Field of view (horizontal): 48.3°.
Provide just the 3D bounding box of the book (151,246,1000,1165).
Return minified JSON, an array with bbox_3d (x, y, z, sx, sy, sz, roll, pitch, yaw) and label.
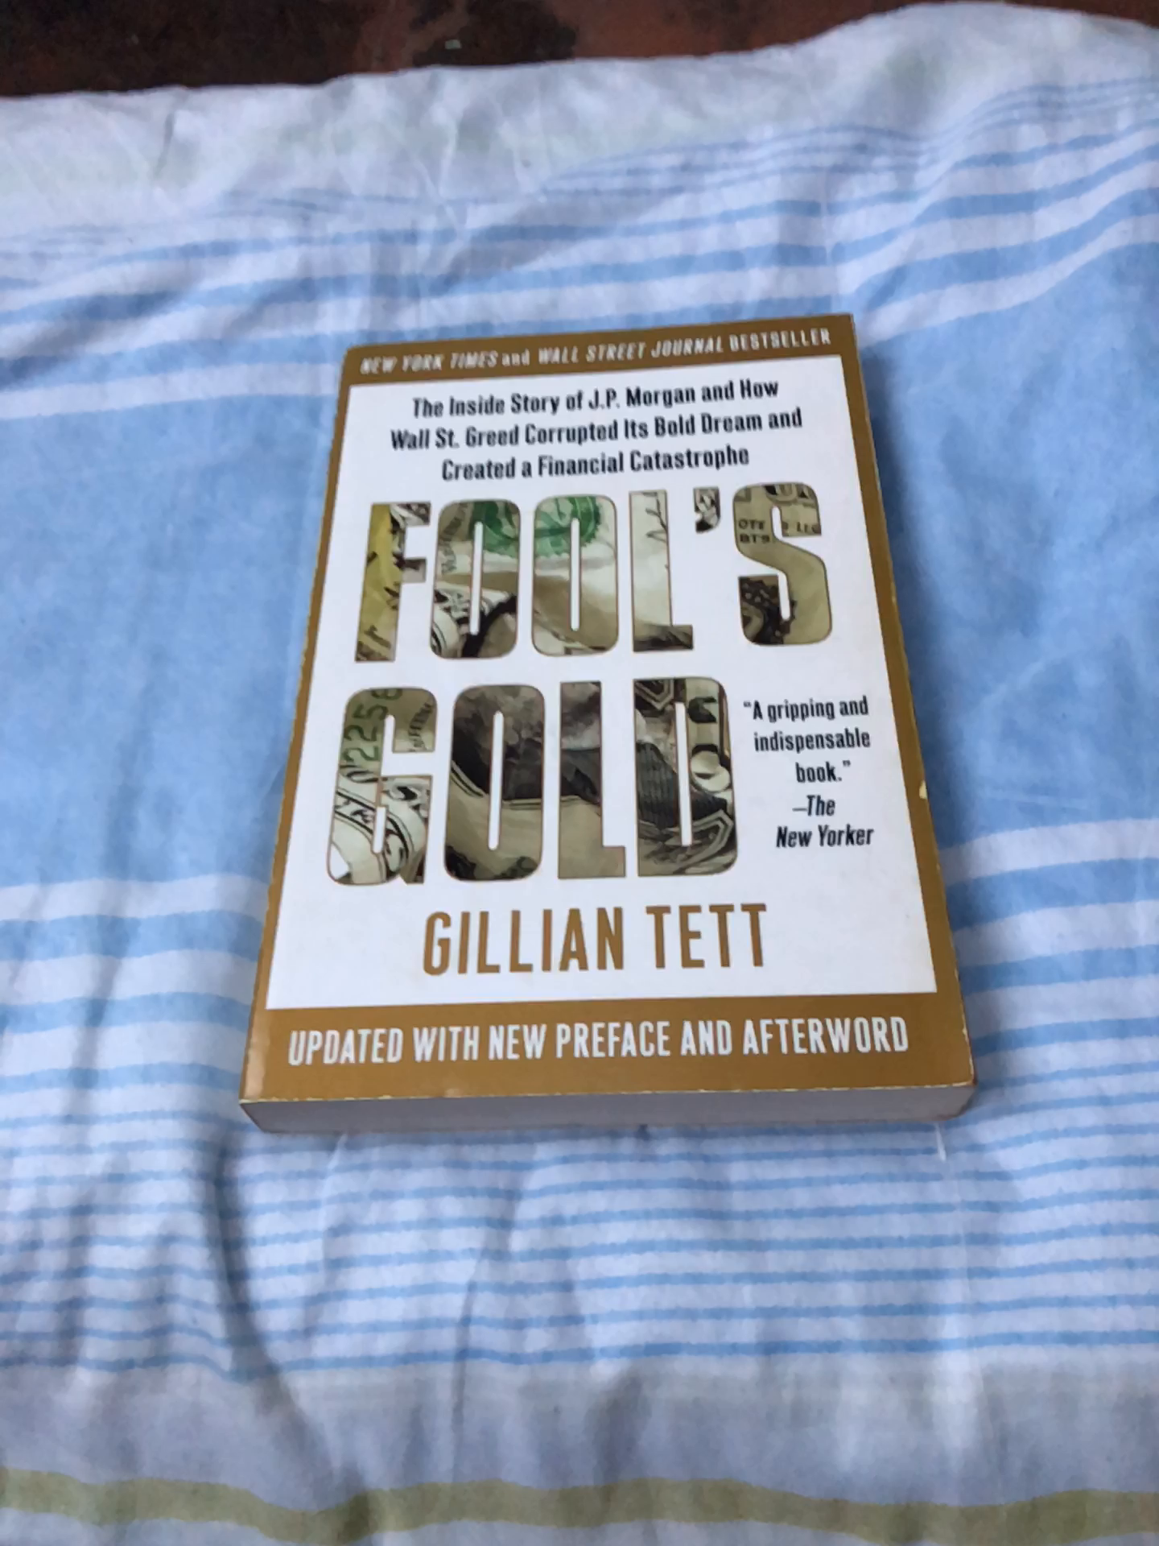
[{"bbox_3d":[0.000,-0.030,0.306,0.150,0.040,0.231,-3,57,5],"label":"book"}]
